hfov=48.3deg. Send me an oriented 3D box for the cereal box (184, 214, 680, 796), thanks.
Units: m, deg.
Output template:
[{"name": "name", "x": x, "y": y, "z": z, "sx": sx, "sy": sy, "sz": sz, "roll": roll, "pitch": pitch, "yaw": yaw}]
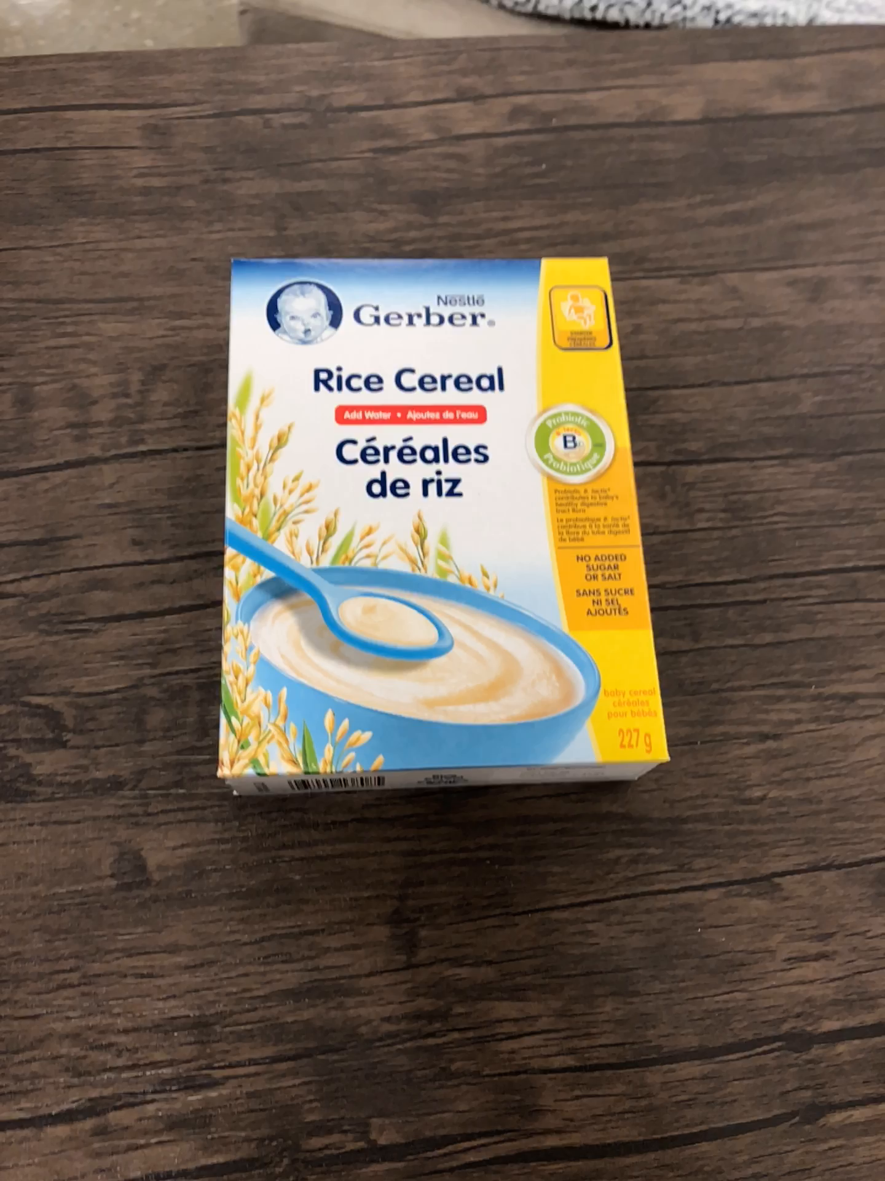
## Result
[{"name": "cereal box", "x": -0.007, "y": -0.034, "z": 0.352, "sx": 0.150, "sy": 0.050, "sz": 0.200, "roll": -1, "pitch": 73, "yaw": -4}]
